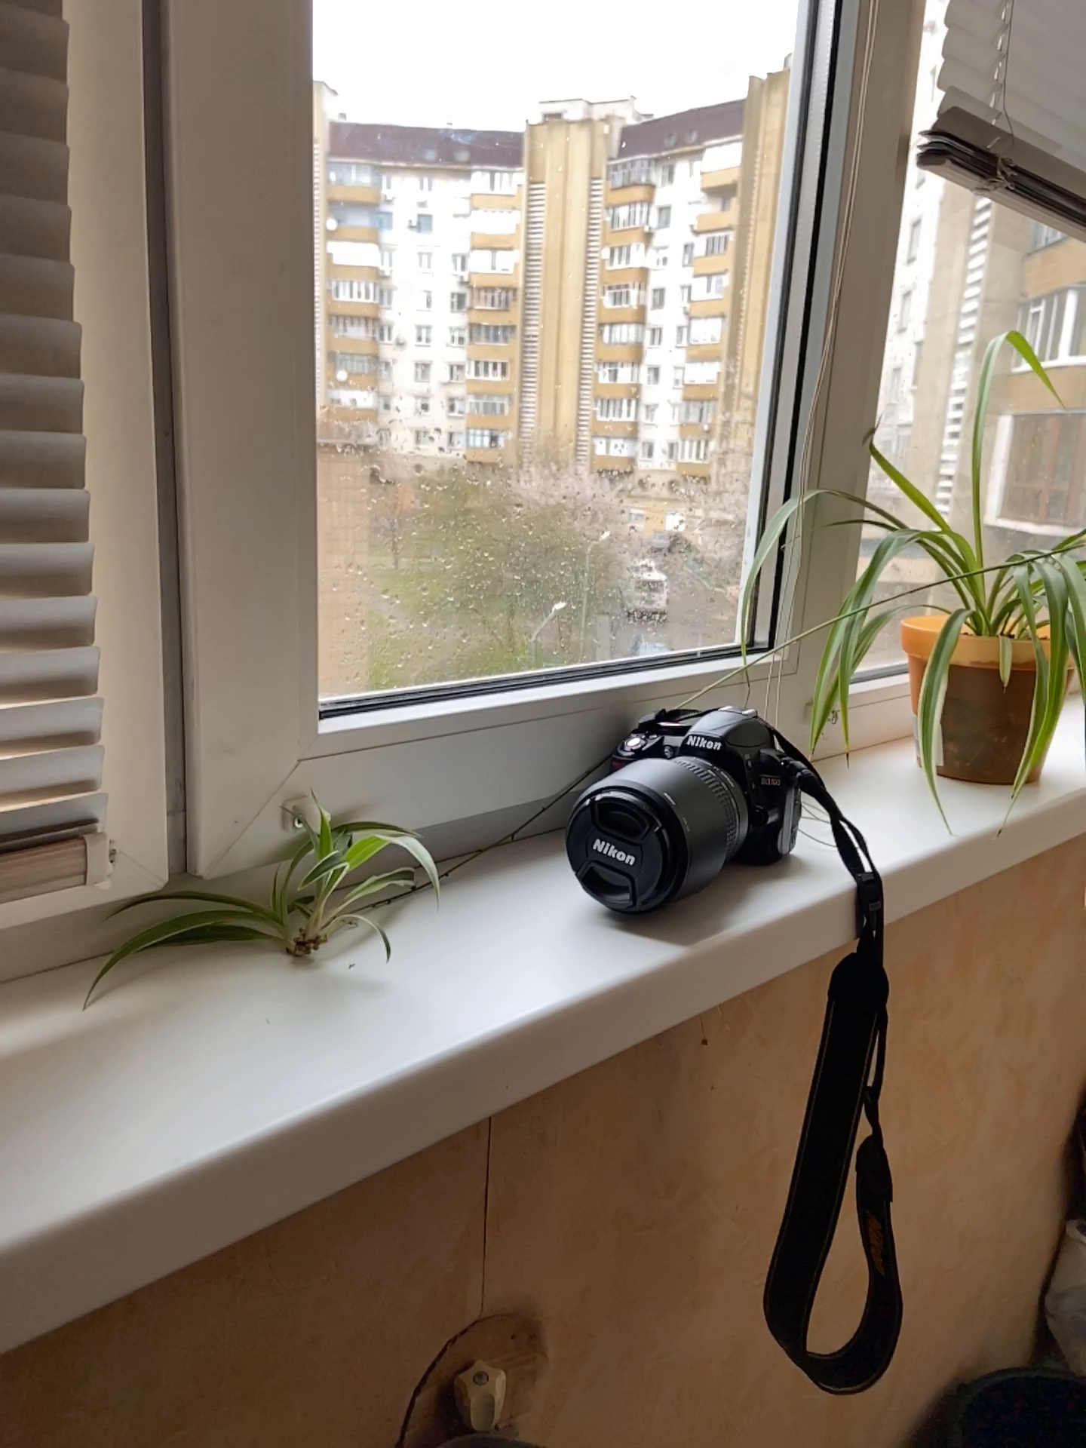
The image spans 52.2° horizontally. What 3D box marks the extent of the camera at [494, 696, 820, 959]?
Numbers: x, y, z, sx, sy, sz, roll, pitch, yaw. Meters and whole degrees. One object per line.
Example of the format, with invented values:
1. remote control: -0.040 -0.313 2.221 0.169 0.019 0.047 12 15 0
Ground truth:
1. camera: 0.076 0.052 0.687 0.125 0.089 0.191 11 16 29
